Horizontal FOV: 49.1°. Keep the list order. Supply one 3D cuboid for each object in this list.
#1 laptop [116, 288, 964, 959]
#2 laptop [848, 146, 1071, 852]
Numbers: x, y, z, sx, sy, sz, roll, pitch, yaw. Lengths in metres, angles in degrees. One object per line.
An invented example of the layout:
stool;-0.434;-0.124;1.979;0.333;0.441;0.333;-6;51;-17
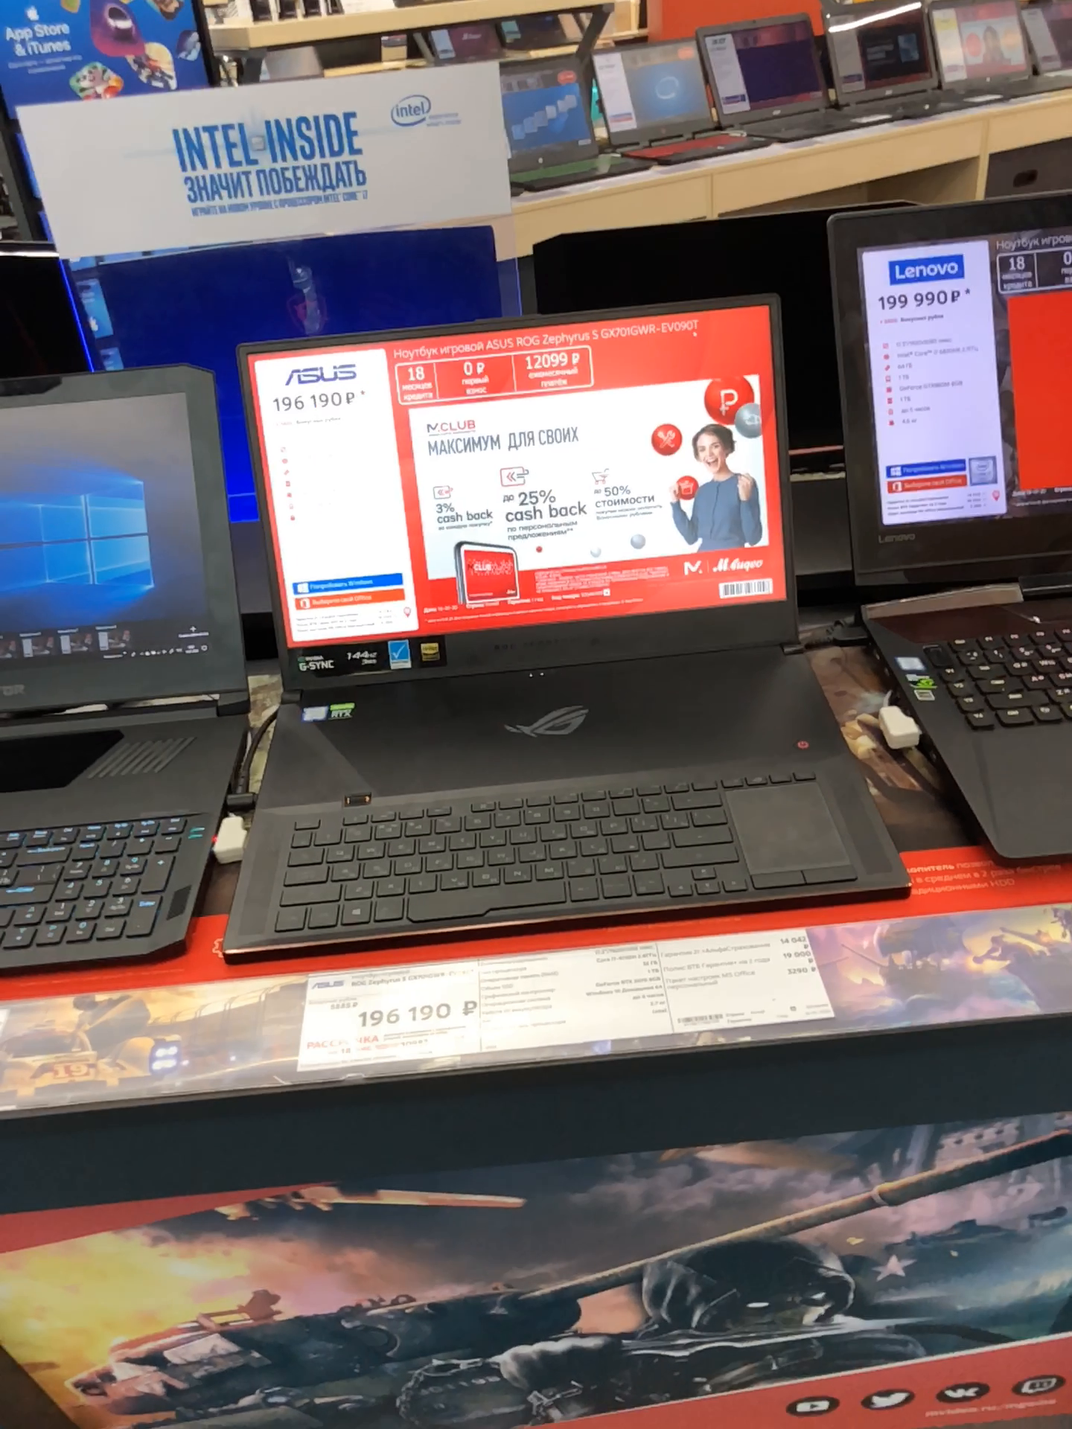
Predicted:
laptop;0.000;-0.087;0.759;0.390;0.240;0.379;-6;33;-1
laptop;0.450;-0.165;0.751;0.374;0.248;0.414;-6;34;3
